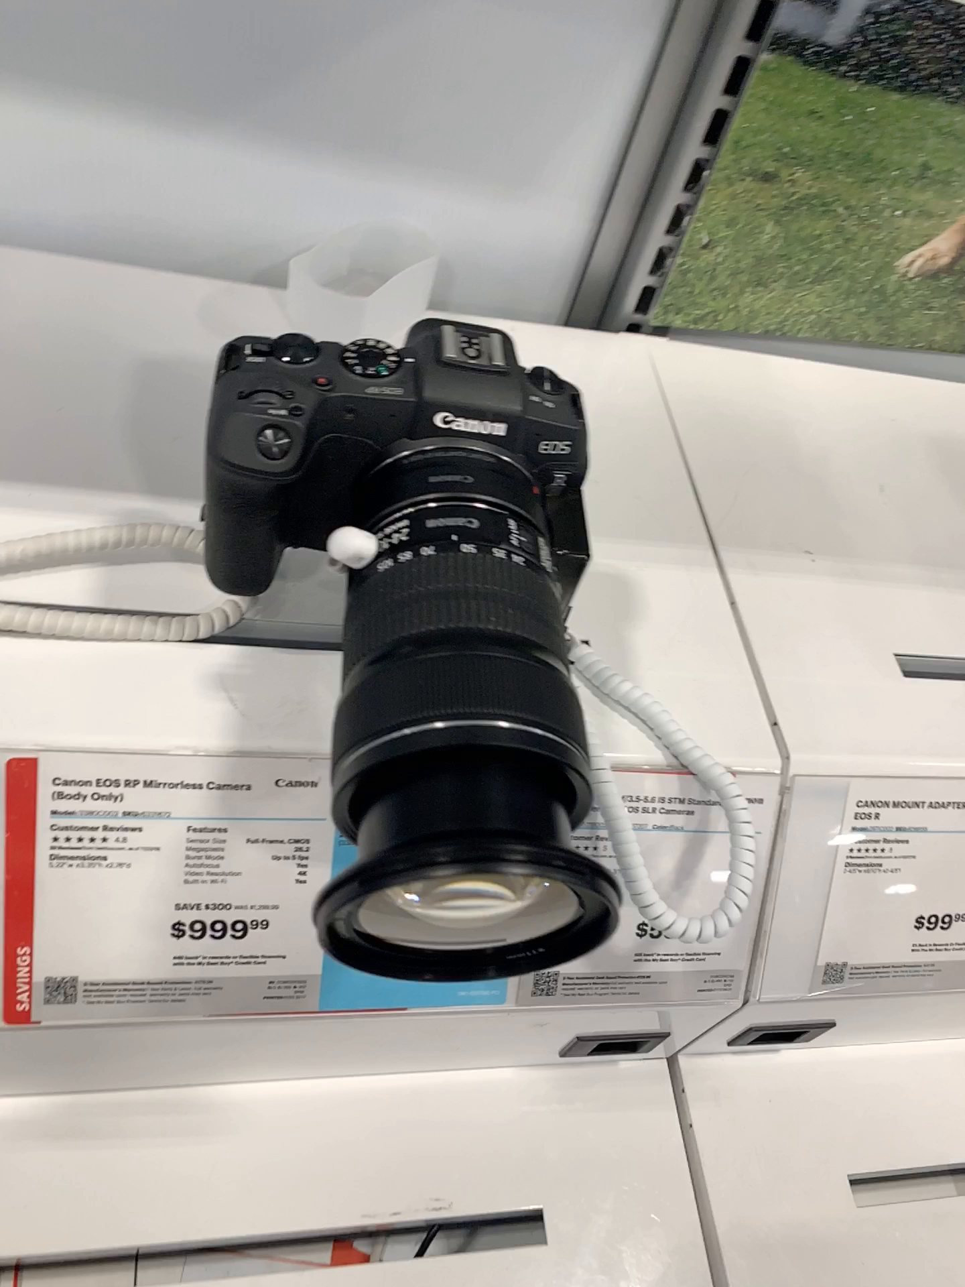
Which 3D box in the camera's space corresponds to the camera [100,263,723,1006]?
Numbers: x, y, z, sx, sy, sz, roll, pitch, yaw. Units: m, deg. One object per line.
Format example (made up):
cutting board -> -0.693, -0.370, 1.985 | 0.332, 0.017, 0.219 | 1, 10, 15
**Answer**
camera -> -0.027, -0.006, 0.306 | 0.132, 0.100, 0.200 | 5, 51, -12
